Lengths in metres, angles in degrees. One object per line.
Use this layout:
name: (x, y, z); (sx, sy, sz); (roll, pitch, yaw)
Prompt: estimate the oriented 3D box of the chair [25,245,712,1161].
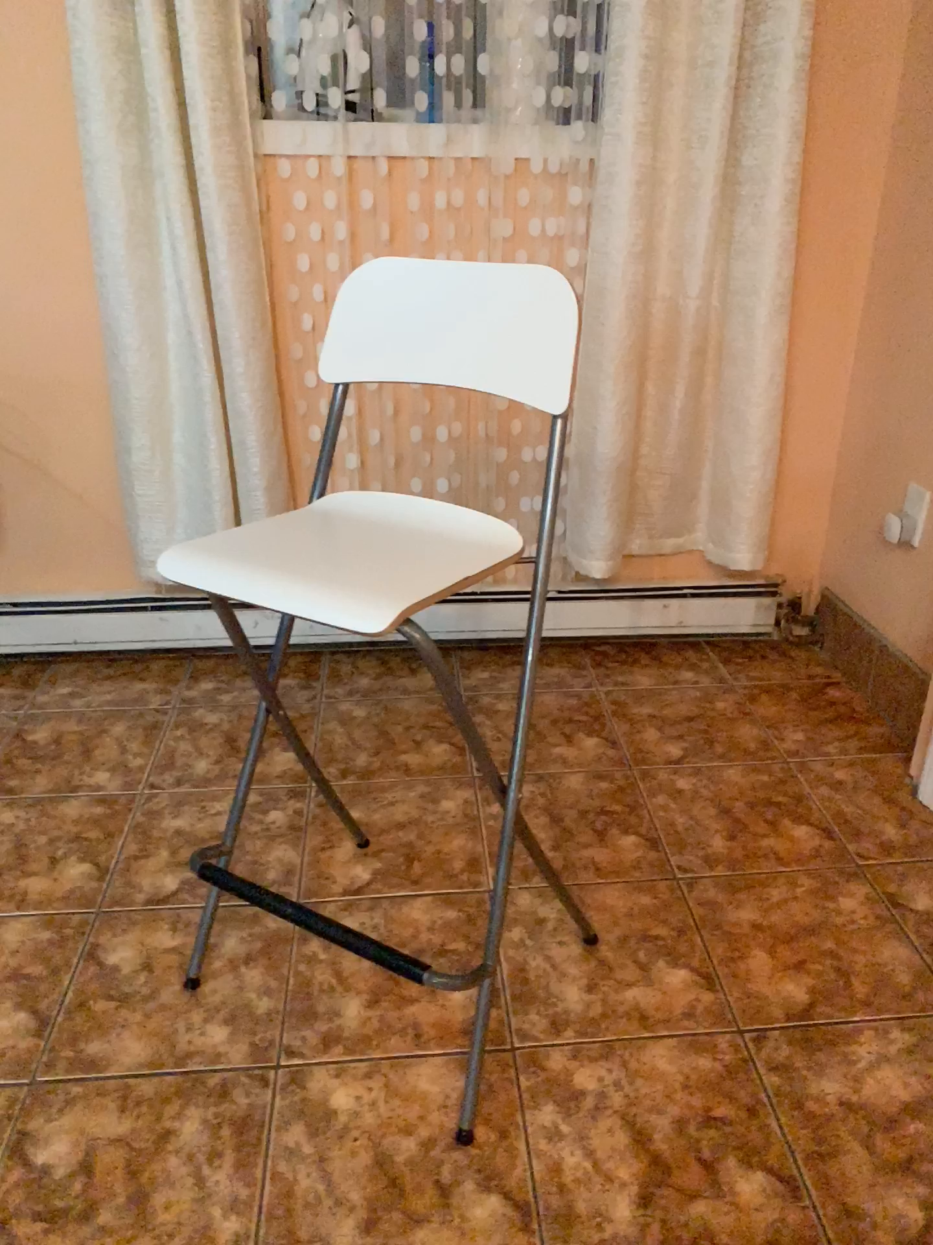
chair: (-0.097, 0.044, 1.311); (0.599, 1.007, 0.545); (14, 27, 25)
